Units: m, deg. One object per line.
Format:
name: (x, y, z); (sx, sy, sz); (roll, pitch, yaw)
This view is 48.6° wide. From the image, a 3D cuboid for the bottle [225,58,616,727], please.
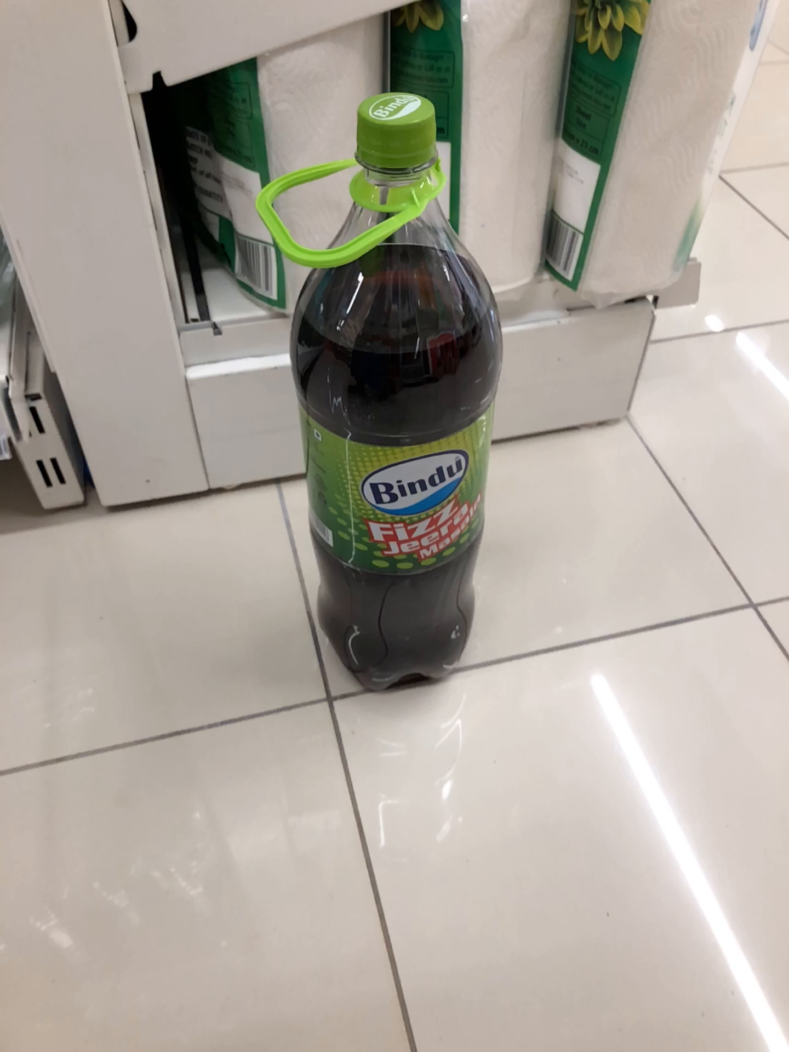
bottle: (0.004, -0.039, 0.415); (0.110, 0.298, 0.101); (0, 47, 0)
